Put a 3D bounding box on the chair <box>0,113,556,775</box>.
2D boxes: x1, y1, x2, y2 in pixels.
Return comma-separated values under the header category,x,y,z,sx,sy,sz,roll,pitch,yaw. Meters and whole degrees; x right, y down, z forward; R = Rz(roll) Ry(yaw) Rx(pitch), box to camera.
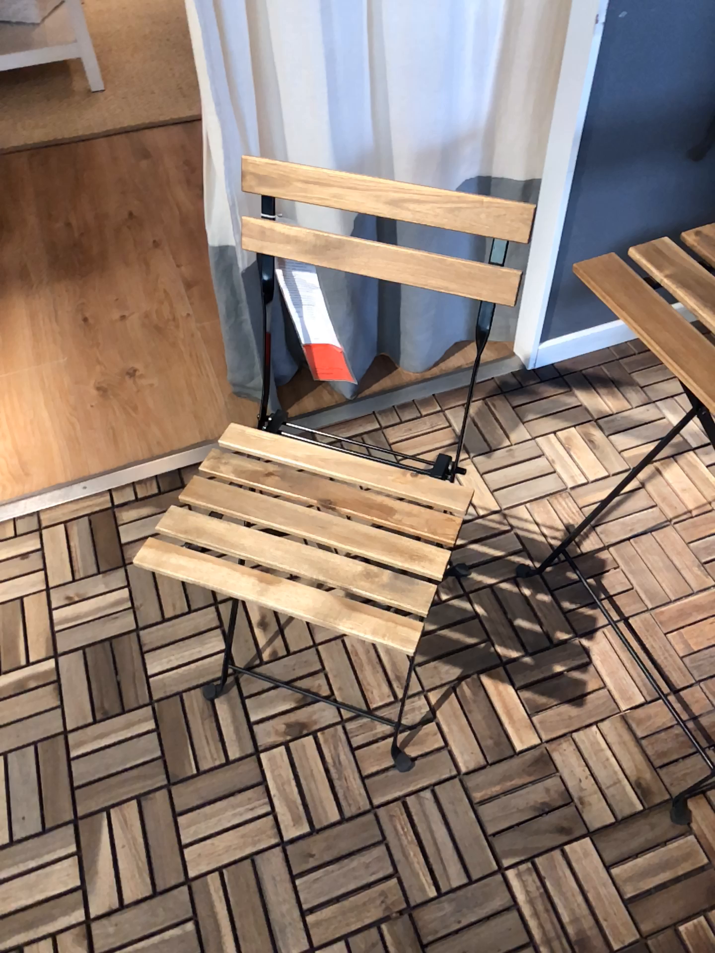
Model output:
category,x,y,z,sx,sy,sz,roll,pitch,yaw
chair,-0.058,0.005,1.054,0.430,0.726,0.432,16,54,13
